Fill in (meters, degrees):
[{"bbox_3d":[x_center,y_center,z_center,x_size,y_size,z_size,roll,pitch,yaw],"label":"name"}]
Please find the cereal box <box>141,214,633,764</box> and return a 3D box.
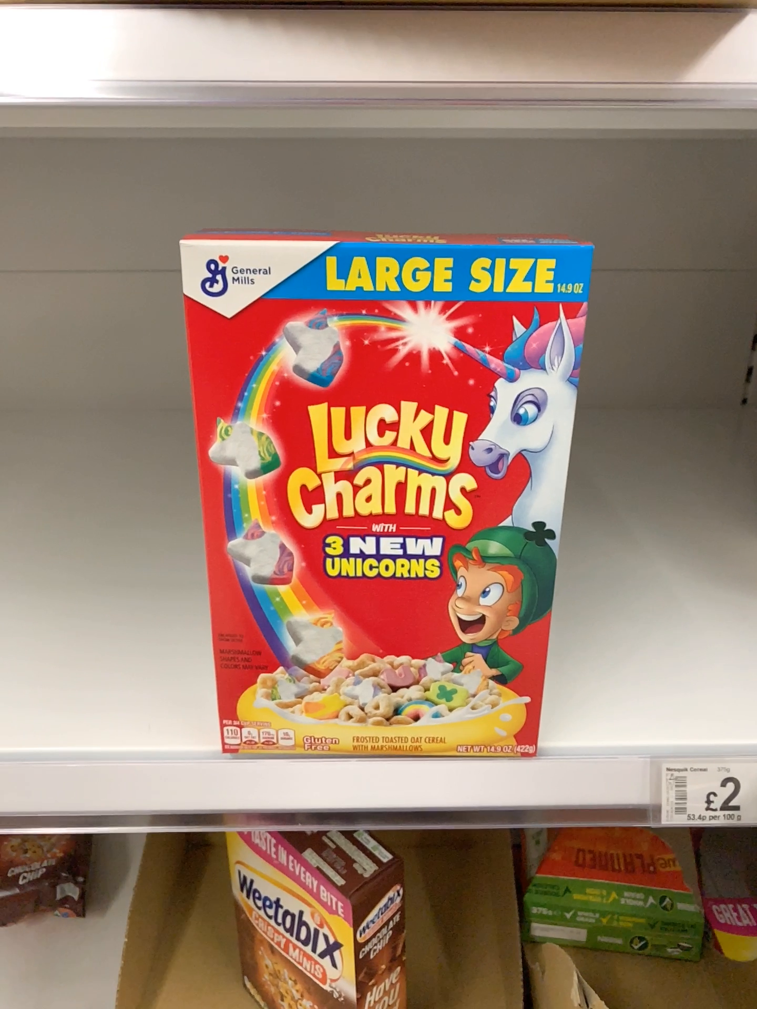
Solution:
[{"bbox_3d":[0.003,-0.001,0.421,0.210,0.288,0.071,0,23,0],"label":"cereal box"}]
